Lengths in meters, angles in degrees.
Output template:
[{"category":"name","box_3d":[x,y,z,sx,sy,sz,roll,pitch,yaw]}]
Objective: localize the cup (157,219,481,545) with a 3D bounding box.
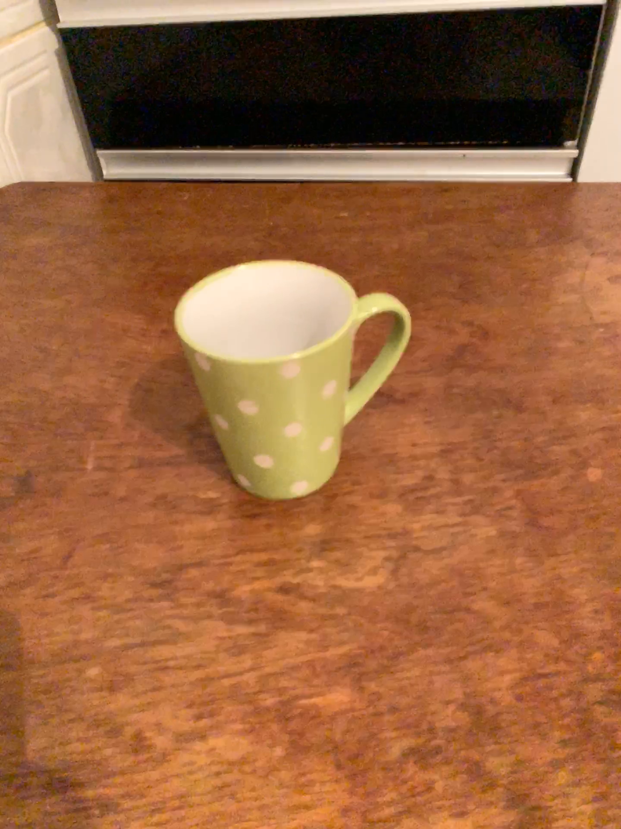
[{"category":"cup","box_3d":[0.004,-0.021,0.323,0.120,0.099,0.090,-24,45,-20]}]
